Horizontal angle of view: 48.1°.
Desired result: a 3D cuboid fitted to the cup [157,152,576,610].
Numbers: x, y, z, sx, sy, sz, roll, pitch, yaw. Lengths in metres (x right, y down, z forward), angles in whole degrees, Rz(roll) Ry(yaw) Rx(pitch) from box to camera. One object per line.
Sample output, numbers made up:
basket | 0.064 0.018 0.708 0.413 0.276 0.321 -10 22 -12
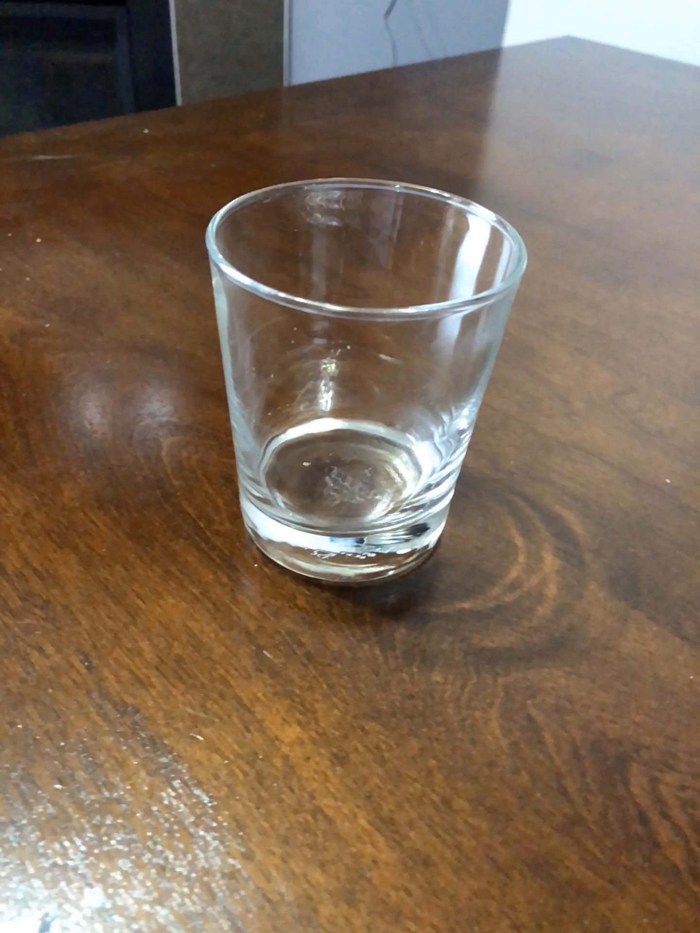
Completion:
cup | 0.005 -0.028 0.231 0.090 0.090 0.090 3 39 -2
